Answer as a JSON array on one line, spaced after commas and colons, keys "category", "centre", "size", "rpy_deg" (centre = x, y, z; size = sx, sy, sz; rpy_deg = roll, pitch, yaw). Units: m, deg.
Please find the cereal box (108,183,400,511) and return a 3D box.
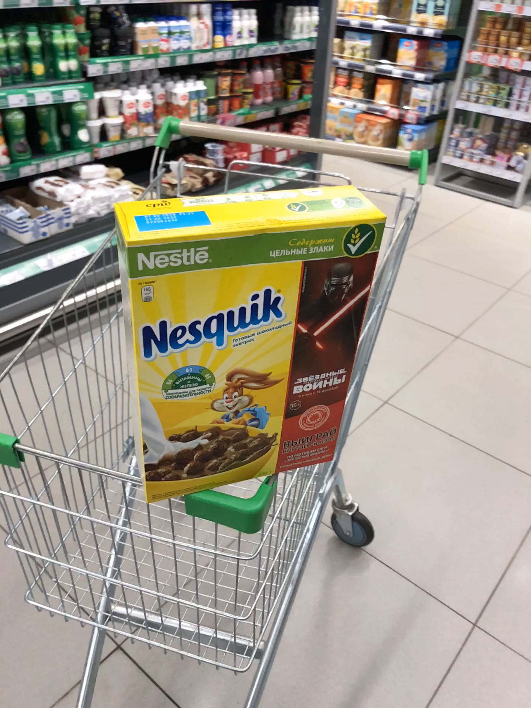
[{"category": "cereal box", "centre": [-0.017, 0.002, 0.505], "size": [0.200, 0.268, 0.070], "rpy_deg": [-9, 40, -18]}]
